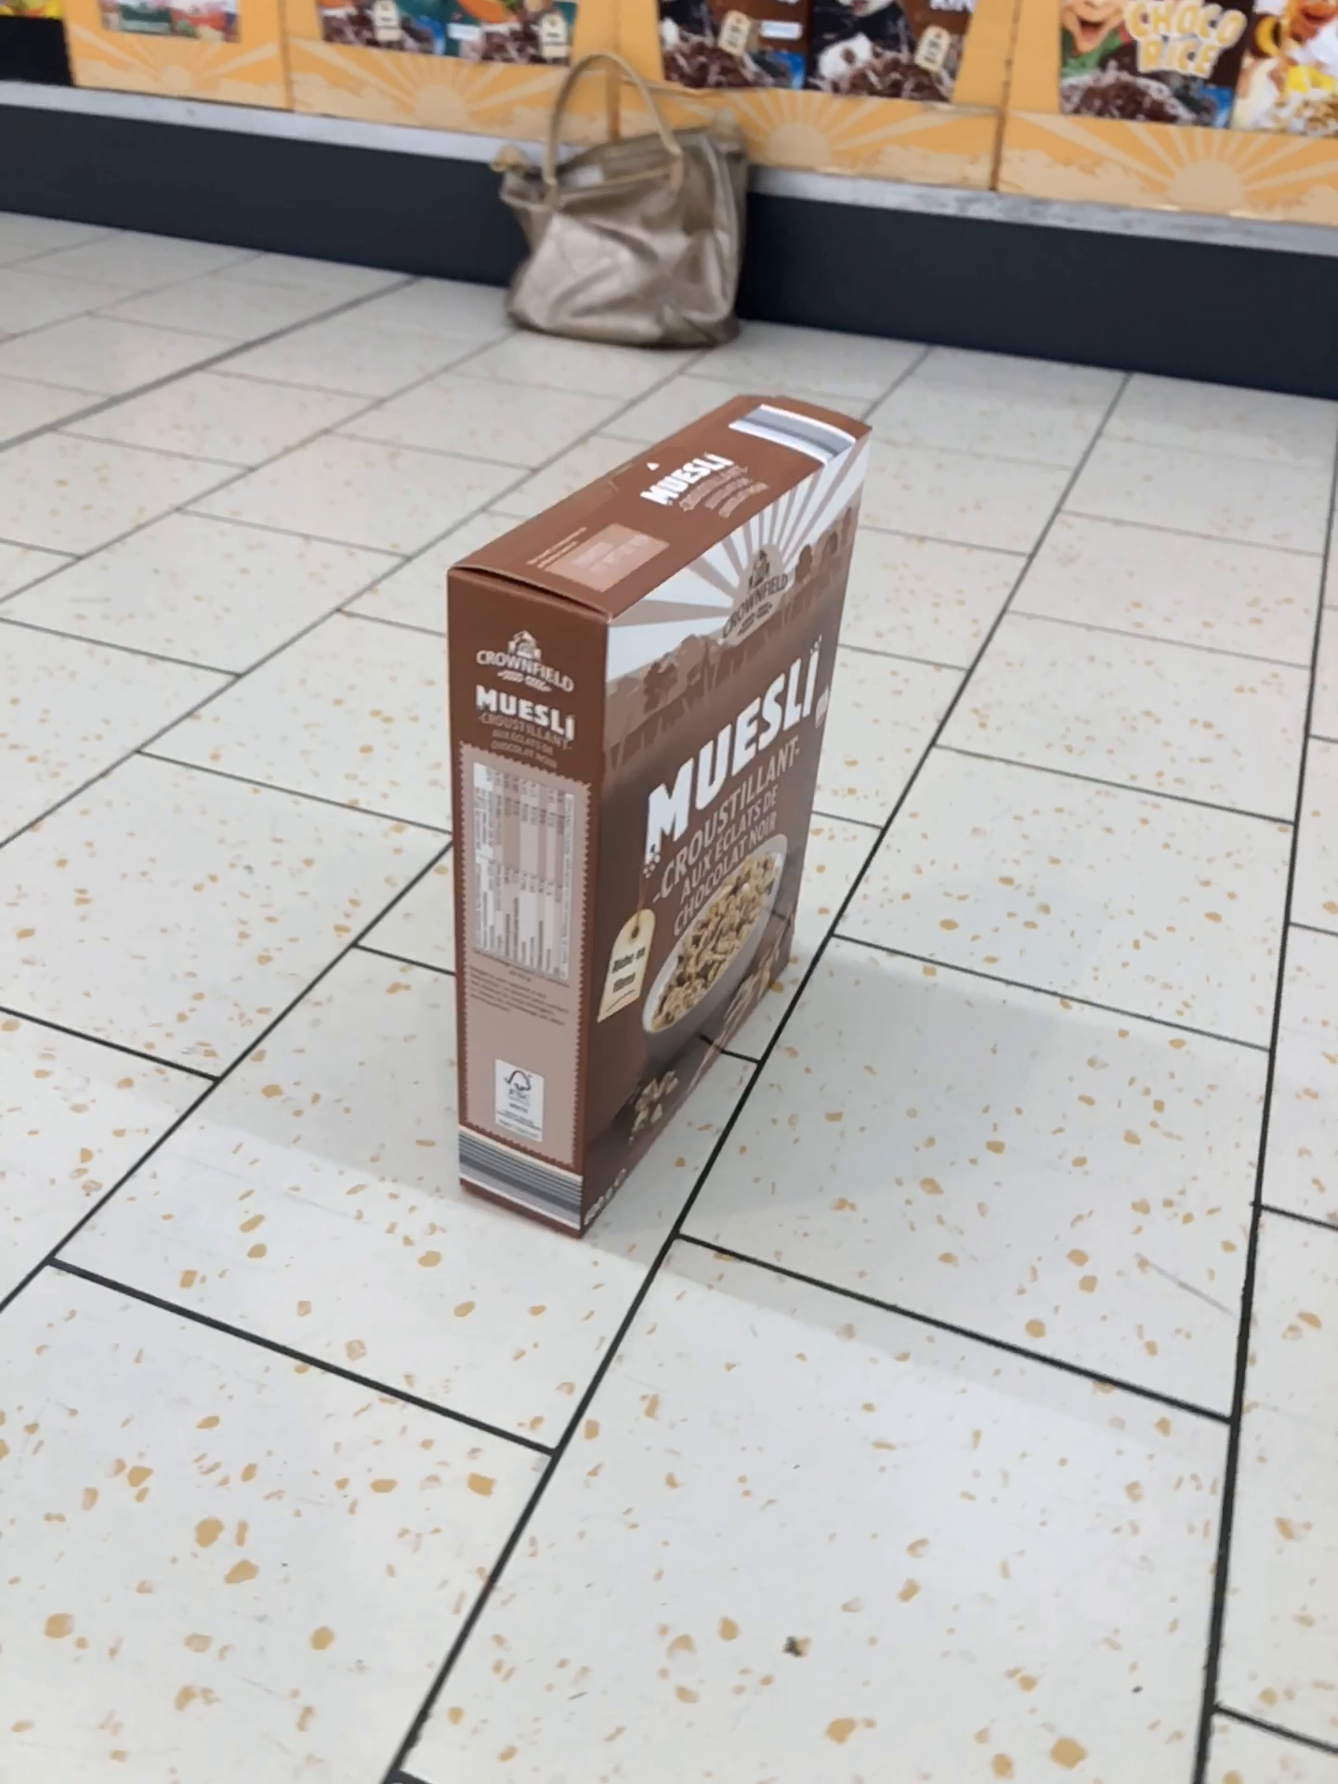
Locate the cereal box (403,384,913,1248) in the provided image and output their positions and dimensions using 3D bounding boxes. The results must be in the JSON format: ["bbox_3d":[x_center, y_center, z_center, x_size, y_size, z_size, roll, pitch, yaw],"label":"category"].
[{"bbox_3d":[0.003,-0.033,0.535,0.070,0.239,0.201,19,38,23],"label":"cereal box"}]
